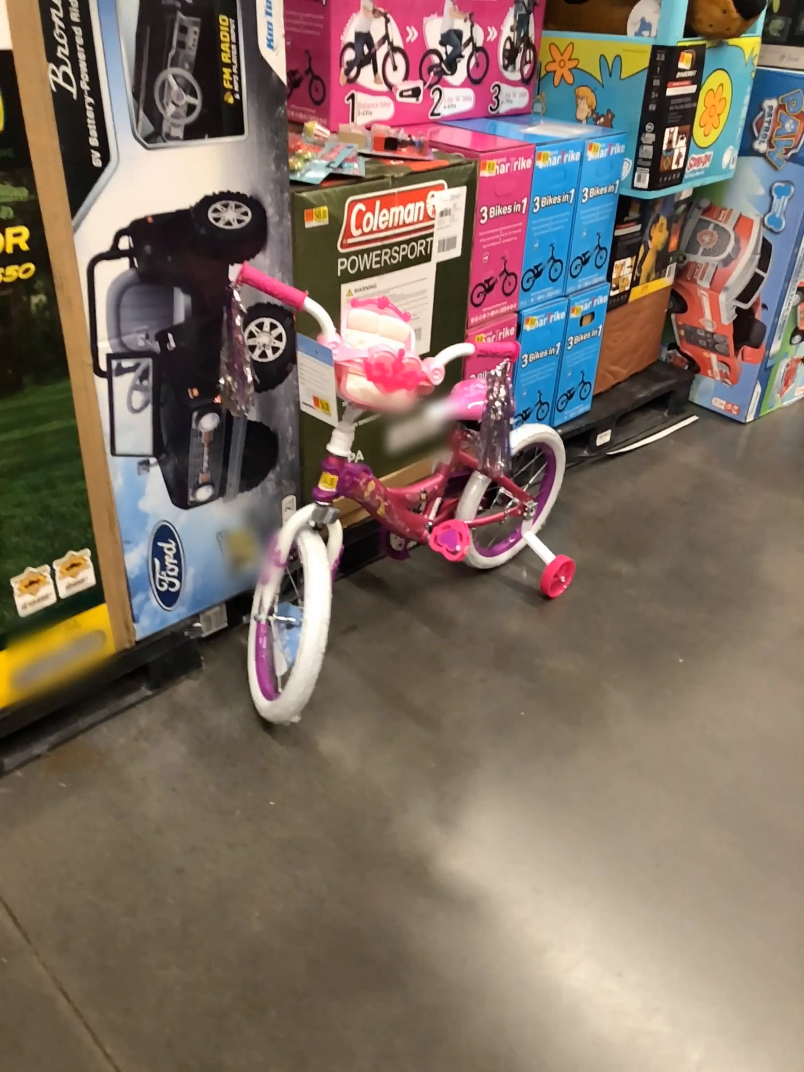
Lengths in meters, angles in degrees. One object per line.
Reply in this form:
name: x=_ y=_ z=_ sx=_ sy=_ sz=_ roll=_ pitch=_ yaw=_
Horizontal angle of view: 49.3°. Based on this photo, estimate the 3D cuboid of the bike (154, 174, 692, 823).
bike: x=0.089 y=-0.149 z=1.740 sx=0.477 sy=0.854 sz=0.952 roll=22 pitch=39 yaw=27
